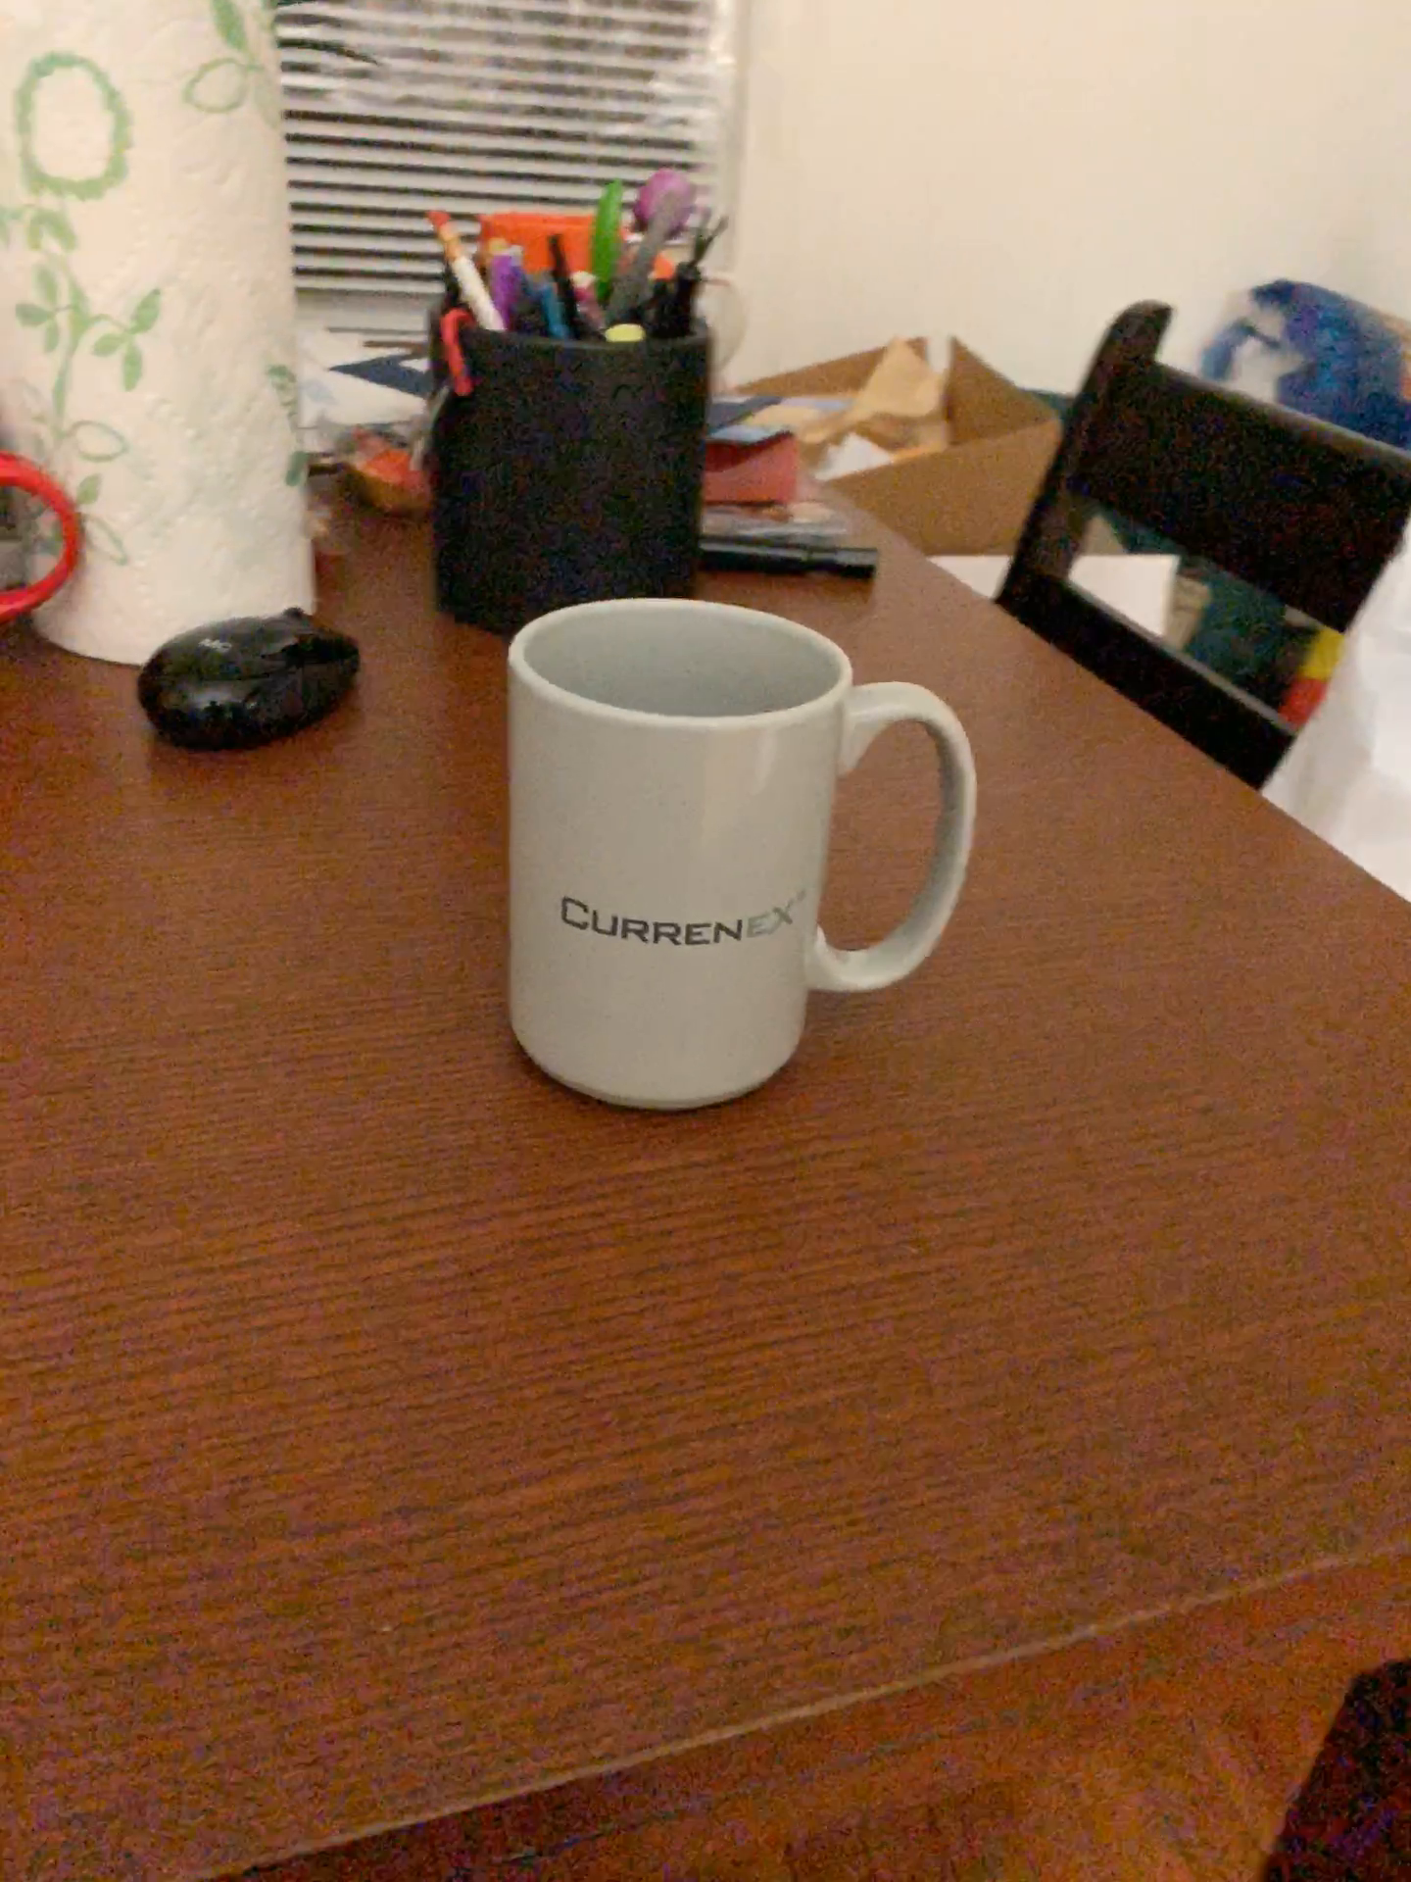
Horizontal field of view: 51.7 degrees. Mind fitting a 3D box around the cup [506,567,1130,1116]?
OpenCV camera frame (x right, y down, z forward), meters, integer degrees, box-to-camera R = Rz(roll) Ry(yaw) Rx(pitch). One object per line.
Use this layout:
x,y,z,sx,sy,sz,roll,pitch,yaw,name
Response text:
0.017,-0.029,0.391,0.140,0.109,0.101,0,31,-8,cup
